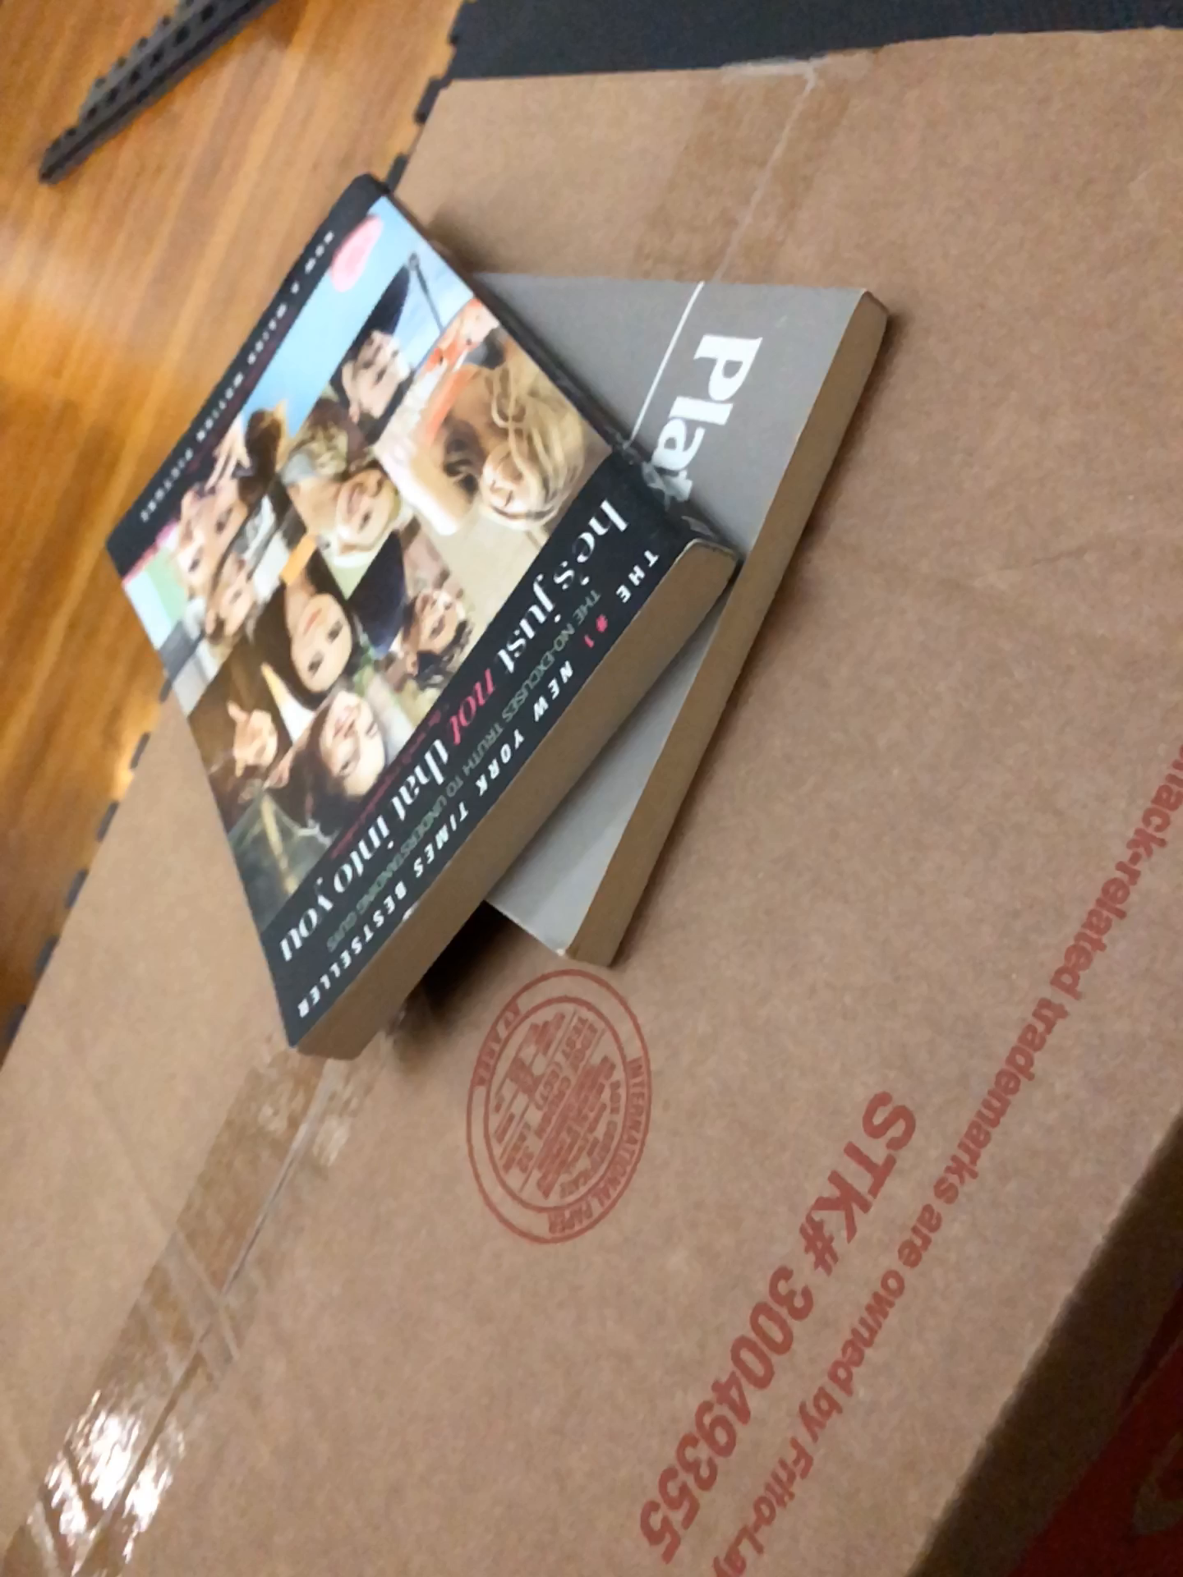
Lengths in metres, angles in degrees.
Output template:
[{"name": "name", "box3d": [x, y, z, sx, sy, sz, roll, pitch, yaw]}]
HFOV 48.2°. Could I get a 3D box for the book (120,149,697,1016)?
[{"name": "book", "box3d": [-0.072, -0.074, 0.366, 0.150, 0.010, 0.231, -51, 44, 19]}]
